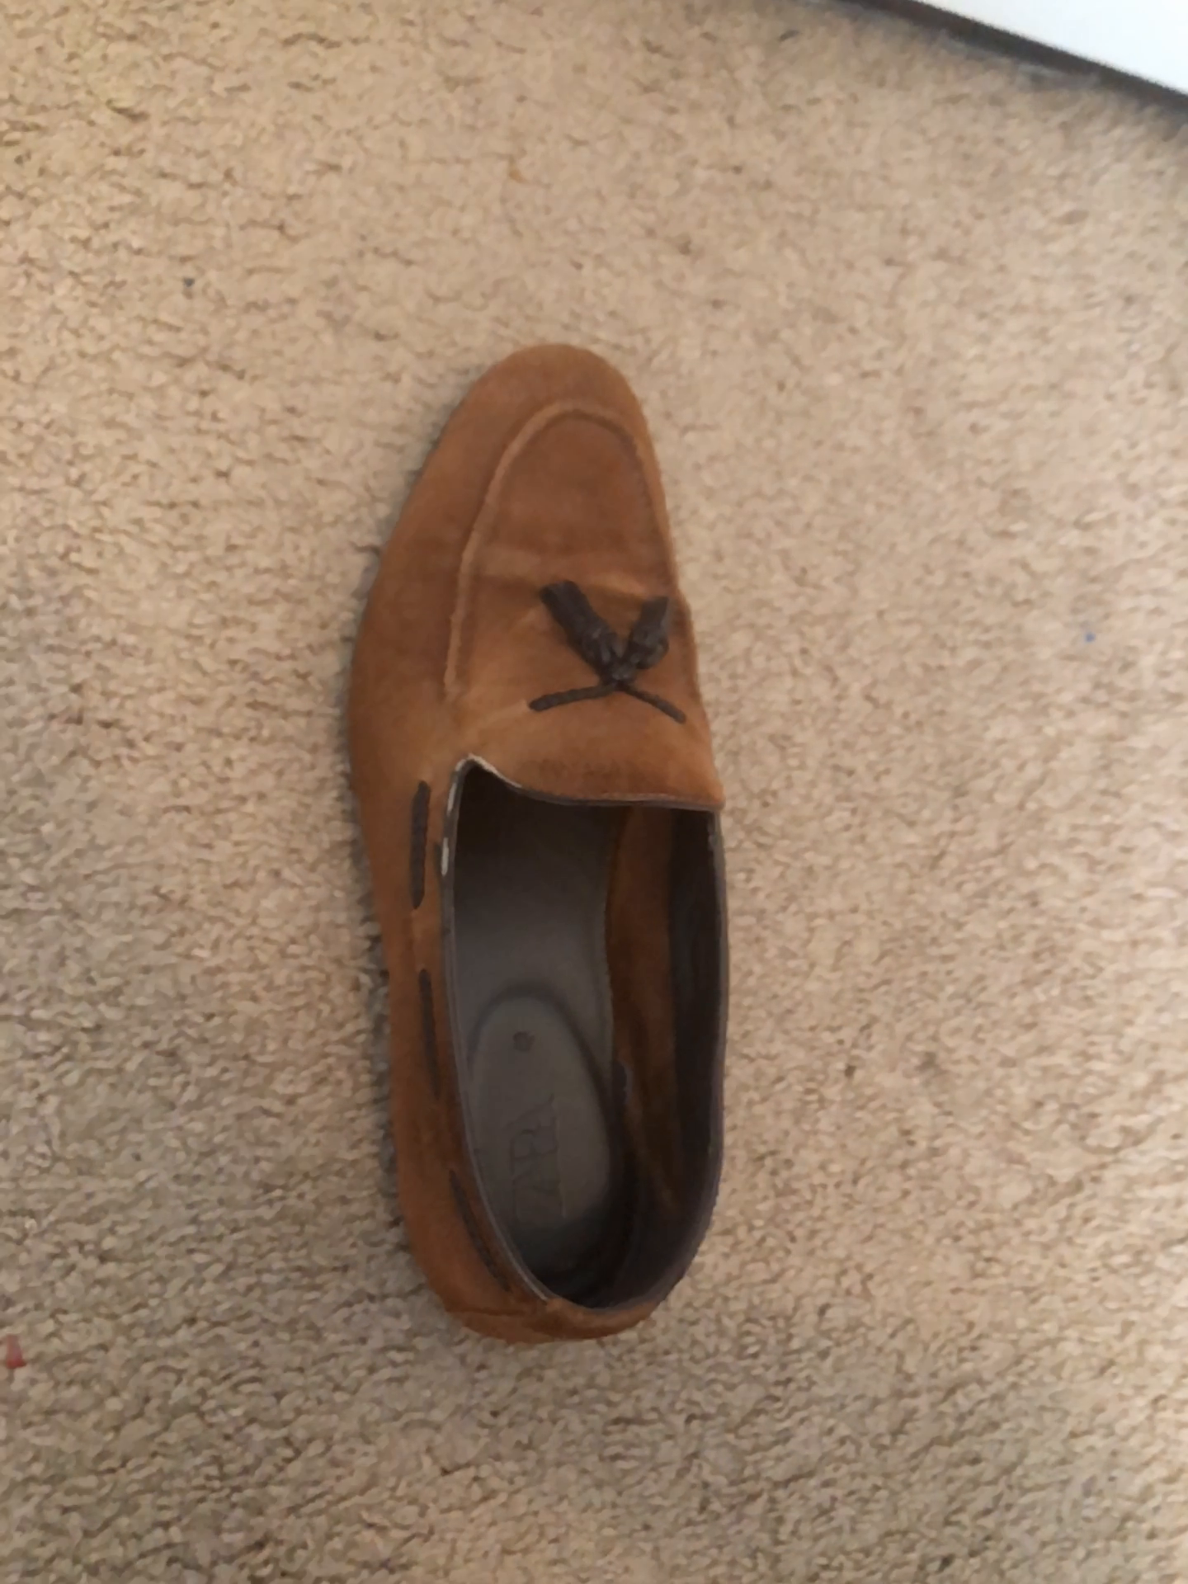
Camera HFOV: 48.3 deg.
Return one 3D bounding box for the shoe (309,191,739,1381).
[{"bbox_3d":[-0.022,-0.001,0.384,0.090,0.100,0.292,4,81,-21],"label":"shoe"}]
